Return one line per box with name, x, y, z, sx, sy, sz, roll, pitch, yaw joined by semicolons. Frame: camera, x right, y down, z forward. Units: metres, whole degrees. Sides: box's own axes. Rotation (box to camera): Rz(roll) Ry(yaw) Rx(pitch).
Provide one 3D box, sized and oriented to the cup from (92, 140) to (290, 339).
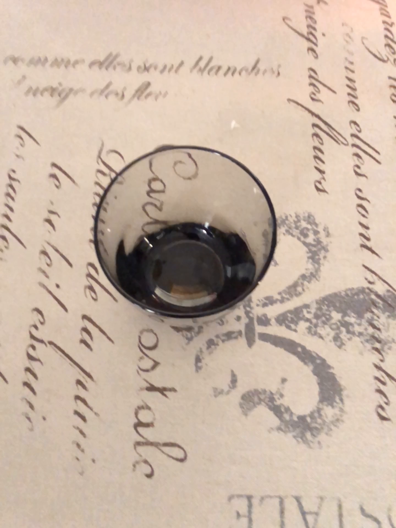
cup;-0.005;-0.007;0.253;0.088;0.093;0.087;0;73;-2
